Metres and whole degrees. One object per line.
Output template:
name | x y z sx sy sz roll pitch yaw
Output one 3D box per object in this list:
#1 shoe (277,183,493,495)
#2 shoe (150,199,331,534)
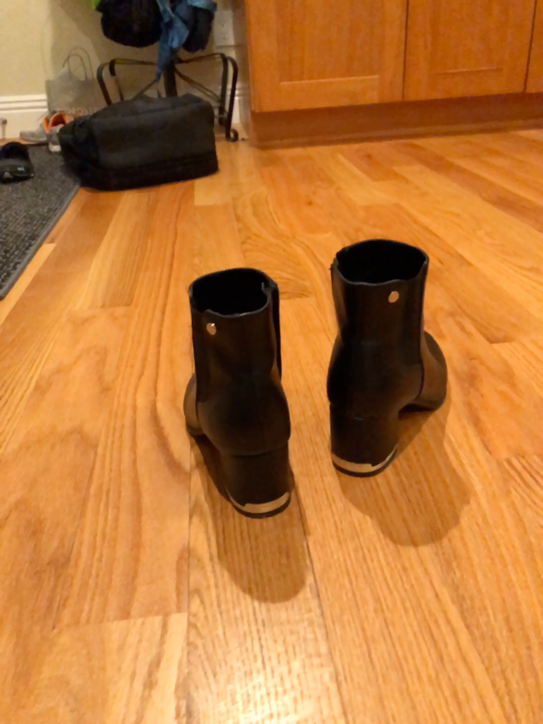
shoe | 0.108 -0.039 0.519 0.095 0.175 0.237 12 32 27
shoe | -0.034 -0.016 0.494 0.095 0.175 0.237 -9 28 -10
